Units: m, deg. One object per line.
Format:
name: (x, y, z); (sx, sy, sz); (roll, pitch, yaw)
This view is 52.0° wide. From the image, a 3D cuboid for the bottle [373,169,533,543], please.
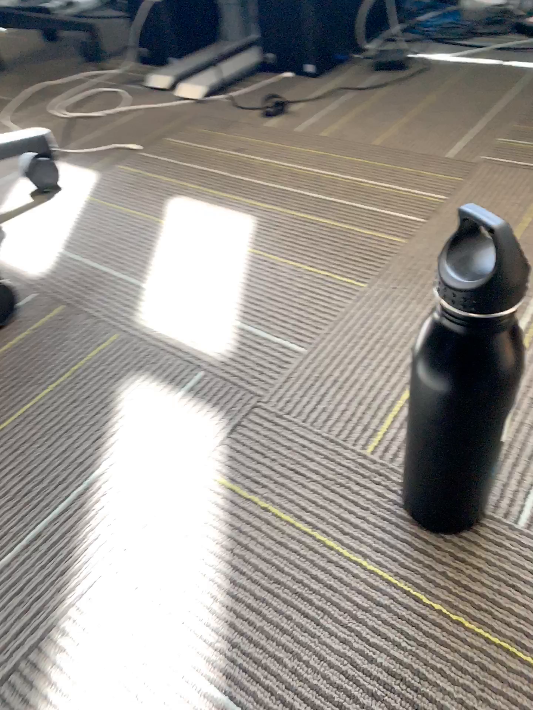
bottle: (0.125, 0.018, 0.372); (0.080, 0.249, 0.091); (-10, 43, -1)
